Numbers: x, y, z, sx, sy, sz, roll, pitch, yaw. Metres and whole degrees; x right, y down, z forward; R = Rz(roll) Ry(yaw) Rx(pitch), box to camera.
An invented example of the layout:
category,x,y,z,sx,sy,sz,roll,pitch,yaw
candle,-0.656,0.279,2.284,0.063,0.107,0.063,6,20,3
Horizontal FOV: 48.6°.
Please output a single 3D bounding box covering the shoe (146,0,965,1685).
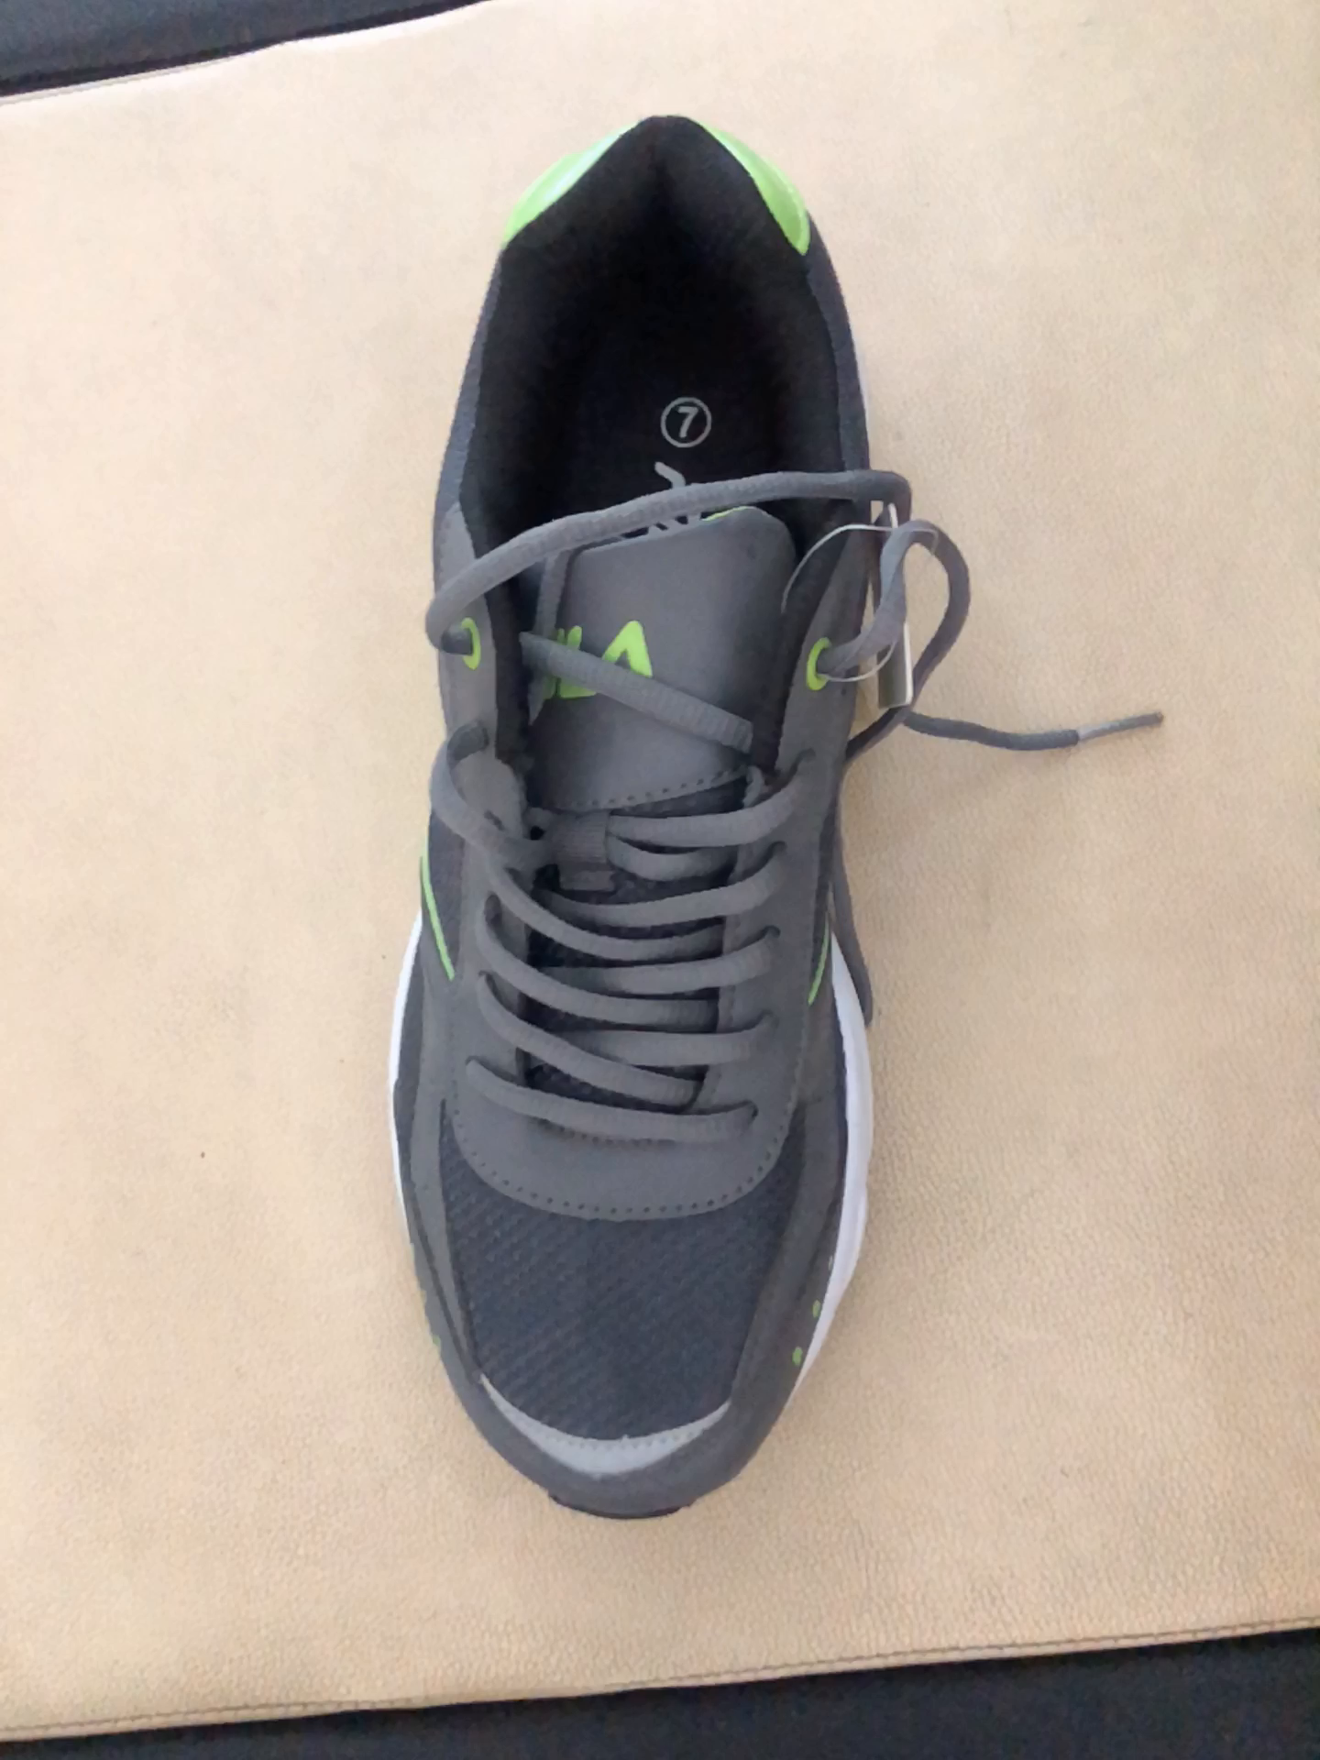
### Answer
category,x,y,z,sx,sy,sz,roll,pitch,yaw
shoe,-0.010,-0.025,0.309,0.130,0.100,0.320,-1,78,8
